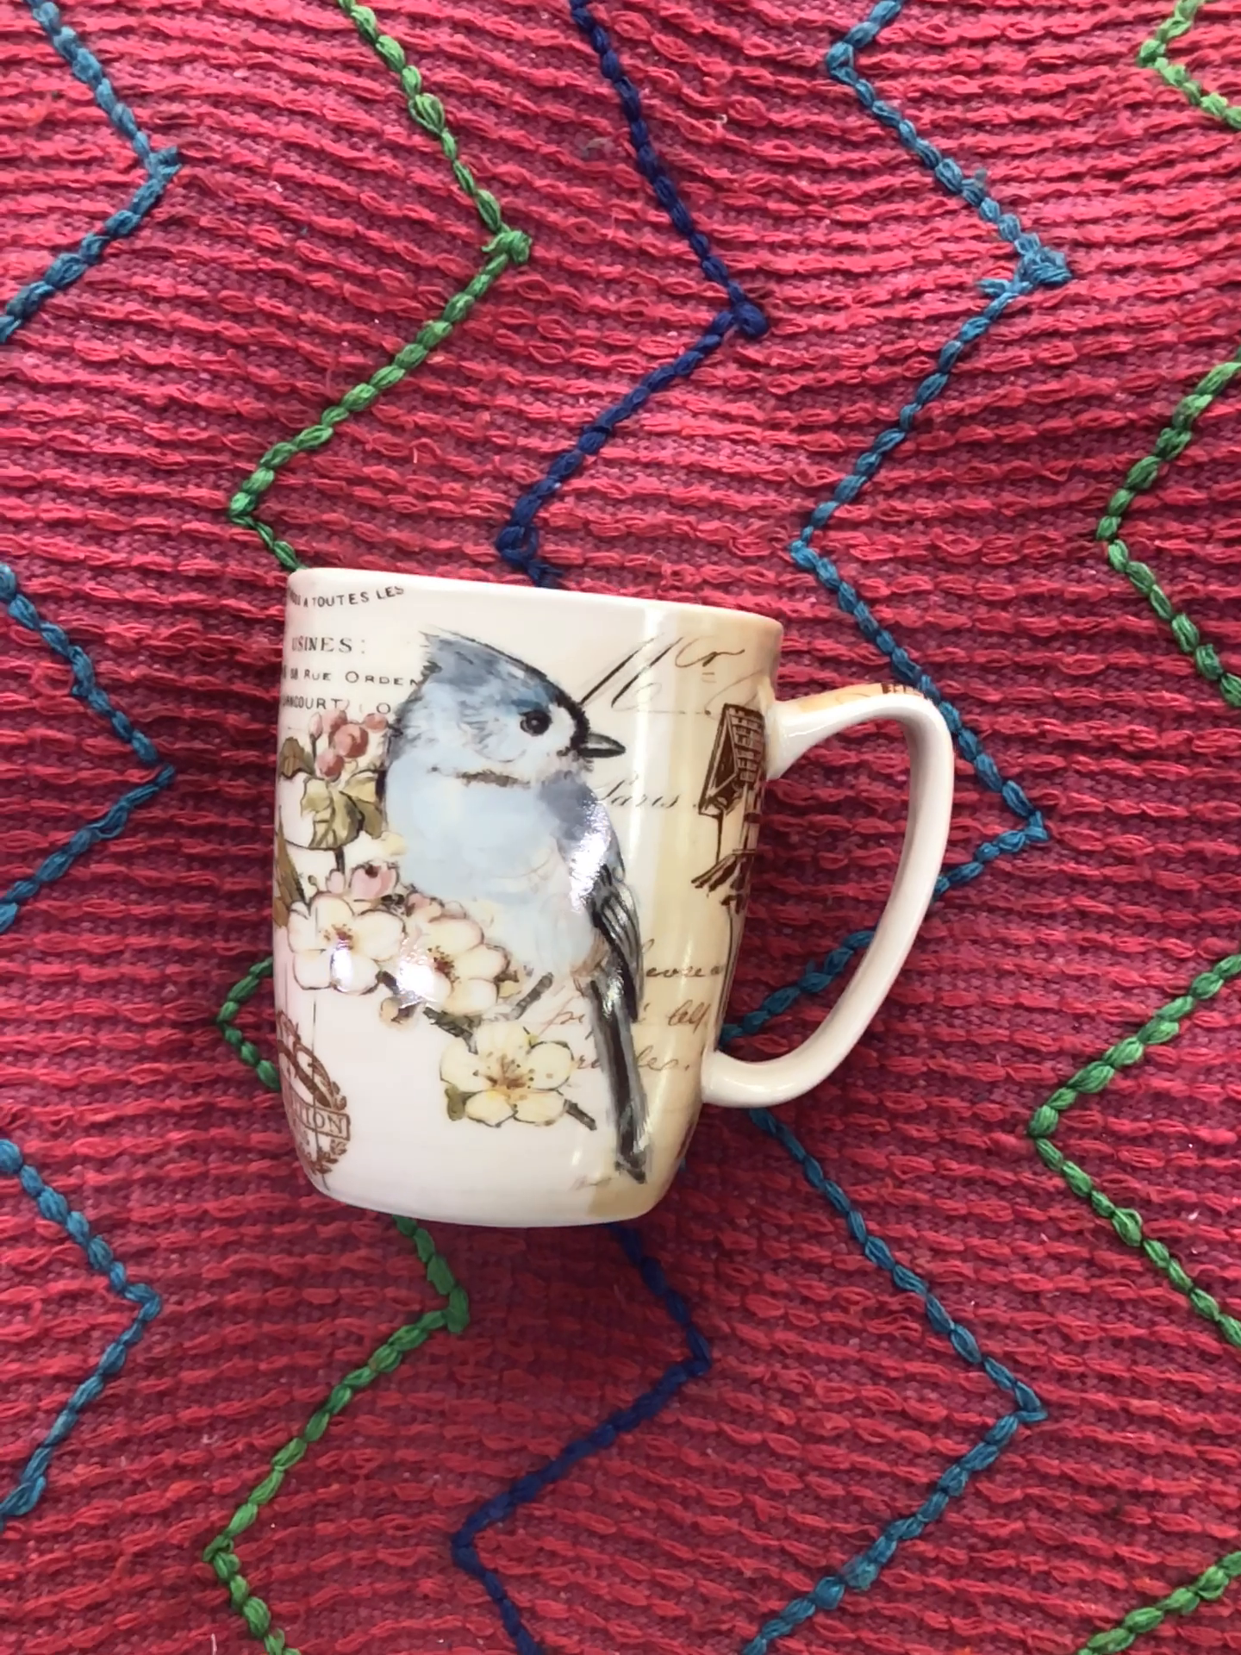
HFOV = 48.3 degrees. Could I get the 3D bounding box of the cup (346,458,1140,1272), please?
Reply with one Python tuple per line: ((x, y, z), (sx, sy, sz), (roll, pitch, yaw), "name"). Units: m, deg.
((0.013, 0.004, 0.229), (0.110, 0.070, 0.110), (-1, 95, -9), "cup")
